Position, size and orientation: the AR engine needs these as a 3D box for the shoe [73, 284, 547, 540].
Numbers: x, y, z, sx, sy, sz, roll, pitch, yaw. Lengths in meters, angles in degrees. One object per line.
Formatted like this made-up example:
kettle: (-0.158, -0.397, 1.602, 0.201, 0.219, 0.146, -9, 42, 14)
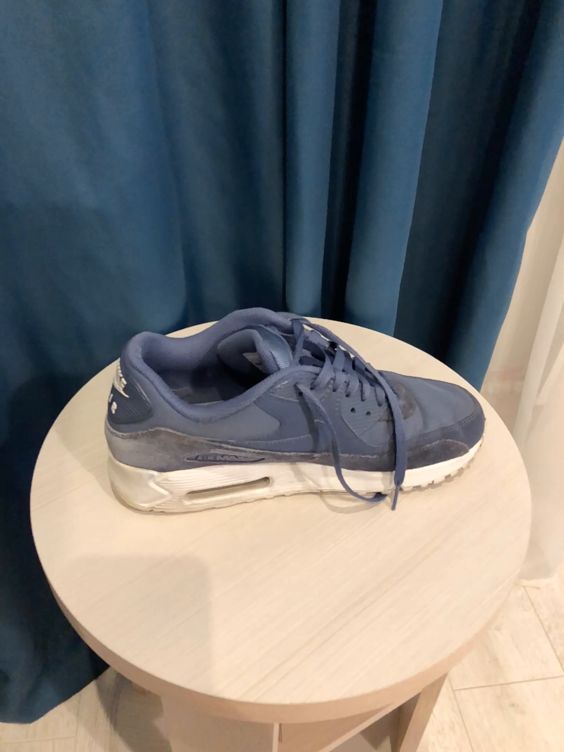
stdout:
shoe: (0.012, 0.017, 0.430, 0.280, 0.109, 0.111, -4, 38, -11)
